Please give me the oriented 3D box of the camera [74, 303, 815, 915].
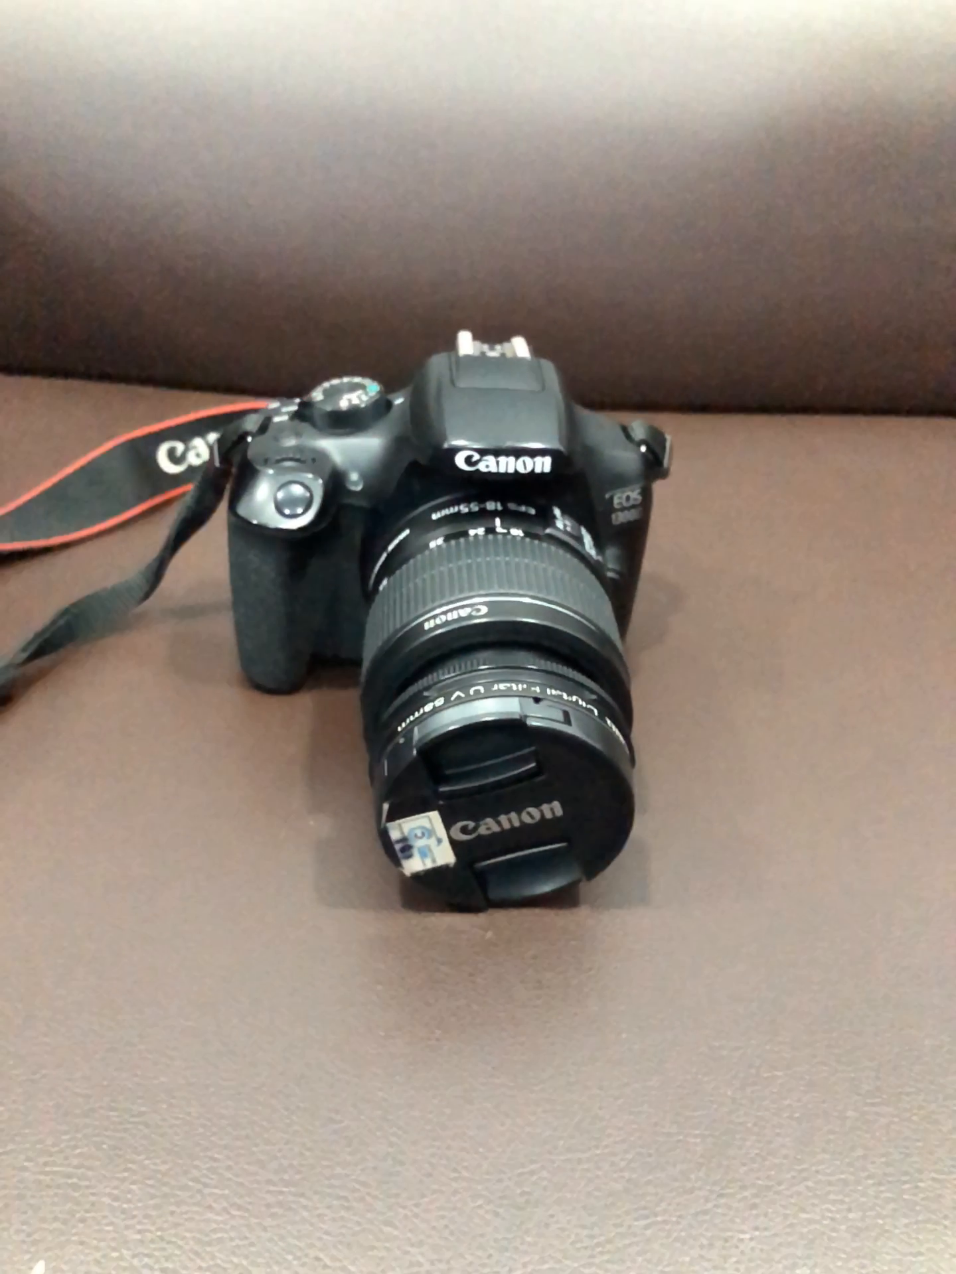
[{"bbox_3d":[-0.008,-0.016,0.271,0.130,0.089,0.141,2,34,-2],"label":"camera"}]
